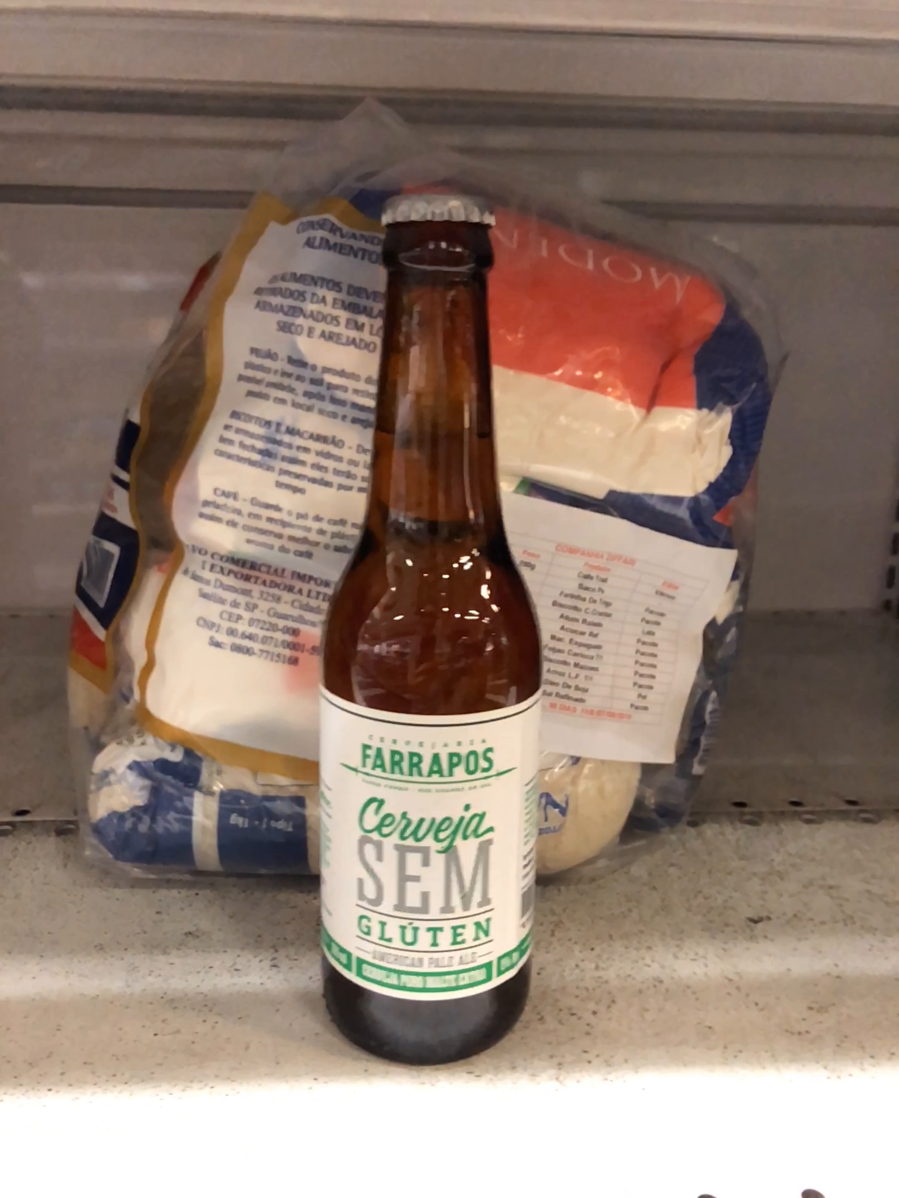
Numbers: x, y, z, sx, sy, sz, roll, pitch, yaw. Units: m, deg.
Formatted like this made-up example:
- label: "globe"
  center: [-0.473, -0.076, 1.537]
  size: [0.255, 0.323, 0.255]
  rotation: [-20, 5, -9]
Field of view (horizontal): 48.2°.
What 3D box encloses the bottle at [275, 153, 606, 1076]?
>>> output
- label: "bottle"
  center: [-0.006, 0.009, 0.270]
  size: [0.070, 0.229, 0.060]
  rotation: [1, 15, -3]
